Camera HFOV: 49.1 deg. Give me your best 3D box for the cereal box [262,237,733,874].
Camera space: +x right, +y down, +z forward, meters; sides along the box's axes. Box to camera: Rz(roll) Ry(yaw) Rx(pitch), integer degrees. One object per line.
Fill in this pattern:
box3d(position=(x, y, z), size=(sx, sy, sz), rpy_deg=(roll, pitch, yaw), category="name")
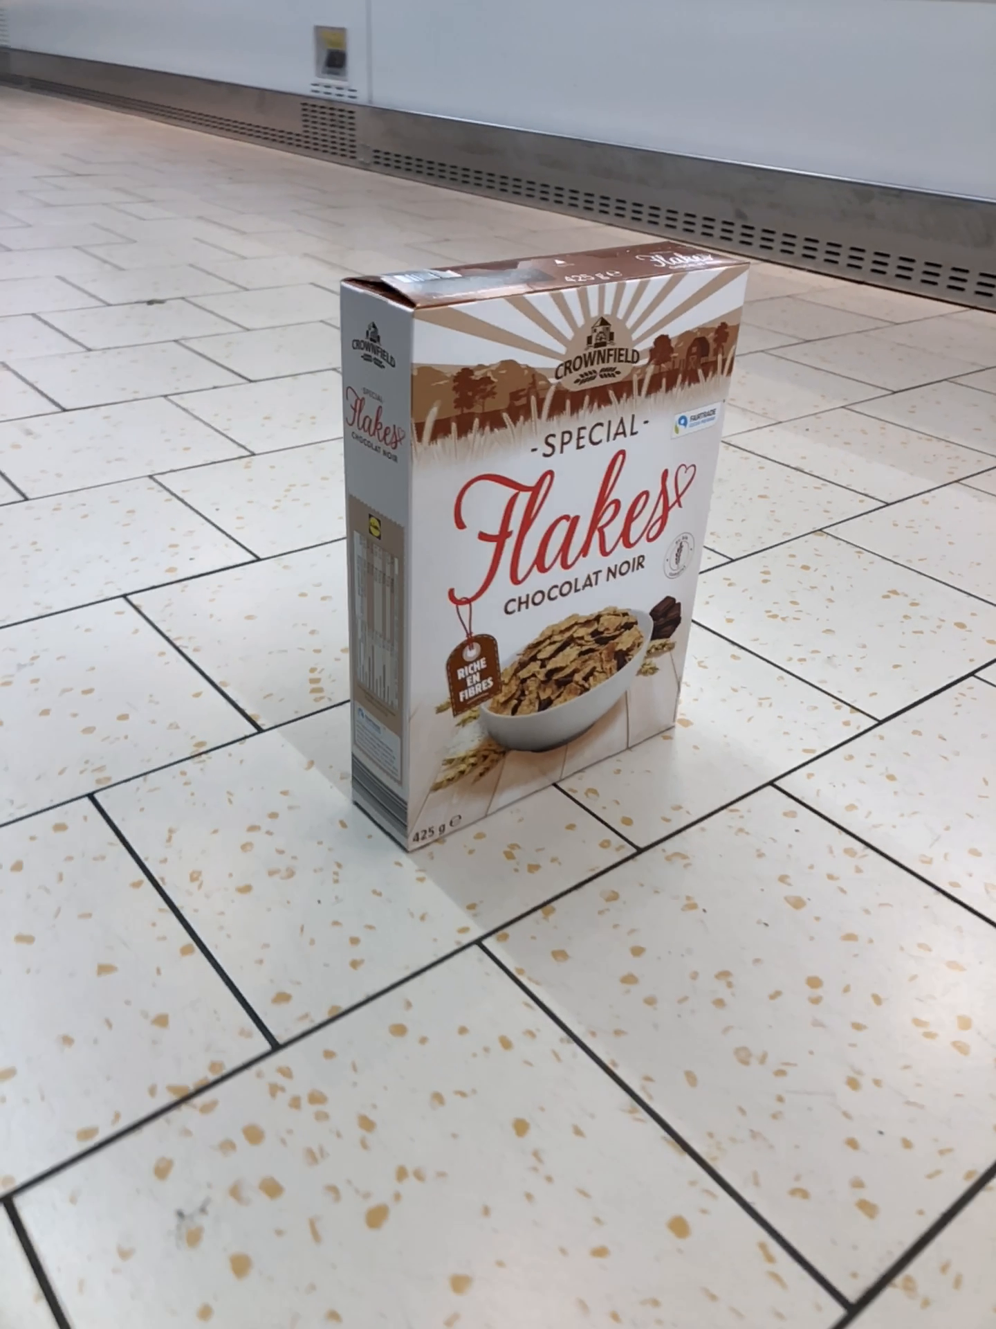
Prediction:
box3d(position=(0.002, -0.058, 0.527), size=(0.201, 0.258, 0.070), rpy_deg=(-20, 36, -34), category="cereal box")
